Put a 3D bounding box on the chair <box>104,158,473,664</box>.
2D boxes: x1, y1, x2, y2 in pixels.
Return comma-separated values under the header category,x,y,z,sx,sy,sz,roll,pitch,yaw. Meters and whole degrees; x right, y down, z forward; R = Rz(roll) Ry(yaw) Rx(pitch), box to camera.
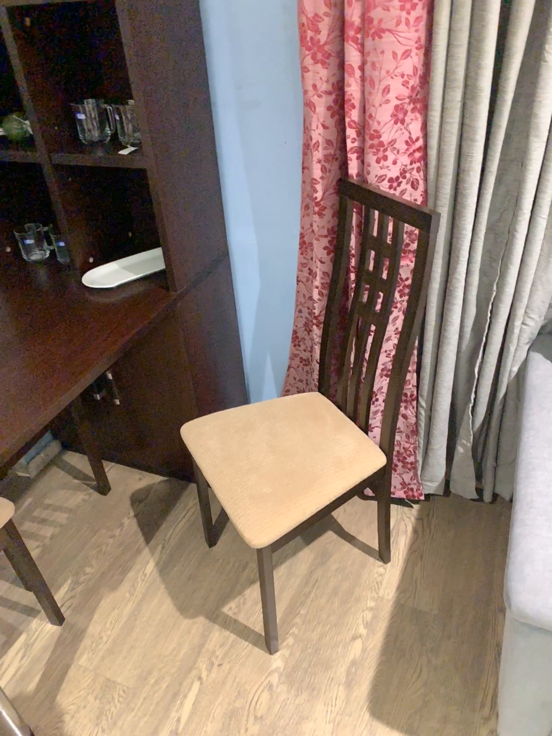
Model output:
category,x,y,z,sx,sy,sz,roll,pitch,yaw
chair,0.024,0.097,1.356,0.510,0.976,0.532,-21,38,-23
